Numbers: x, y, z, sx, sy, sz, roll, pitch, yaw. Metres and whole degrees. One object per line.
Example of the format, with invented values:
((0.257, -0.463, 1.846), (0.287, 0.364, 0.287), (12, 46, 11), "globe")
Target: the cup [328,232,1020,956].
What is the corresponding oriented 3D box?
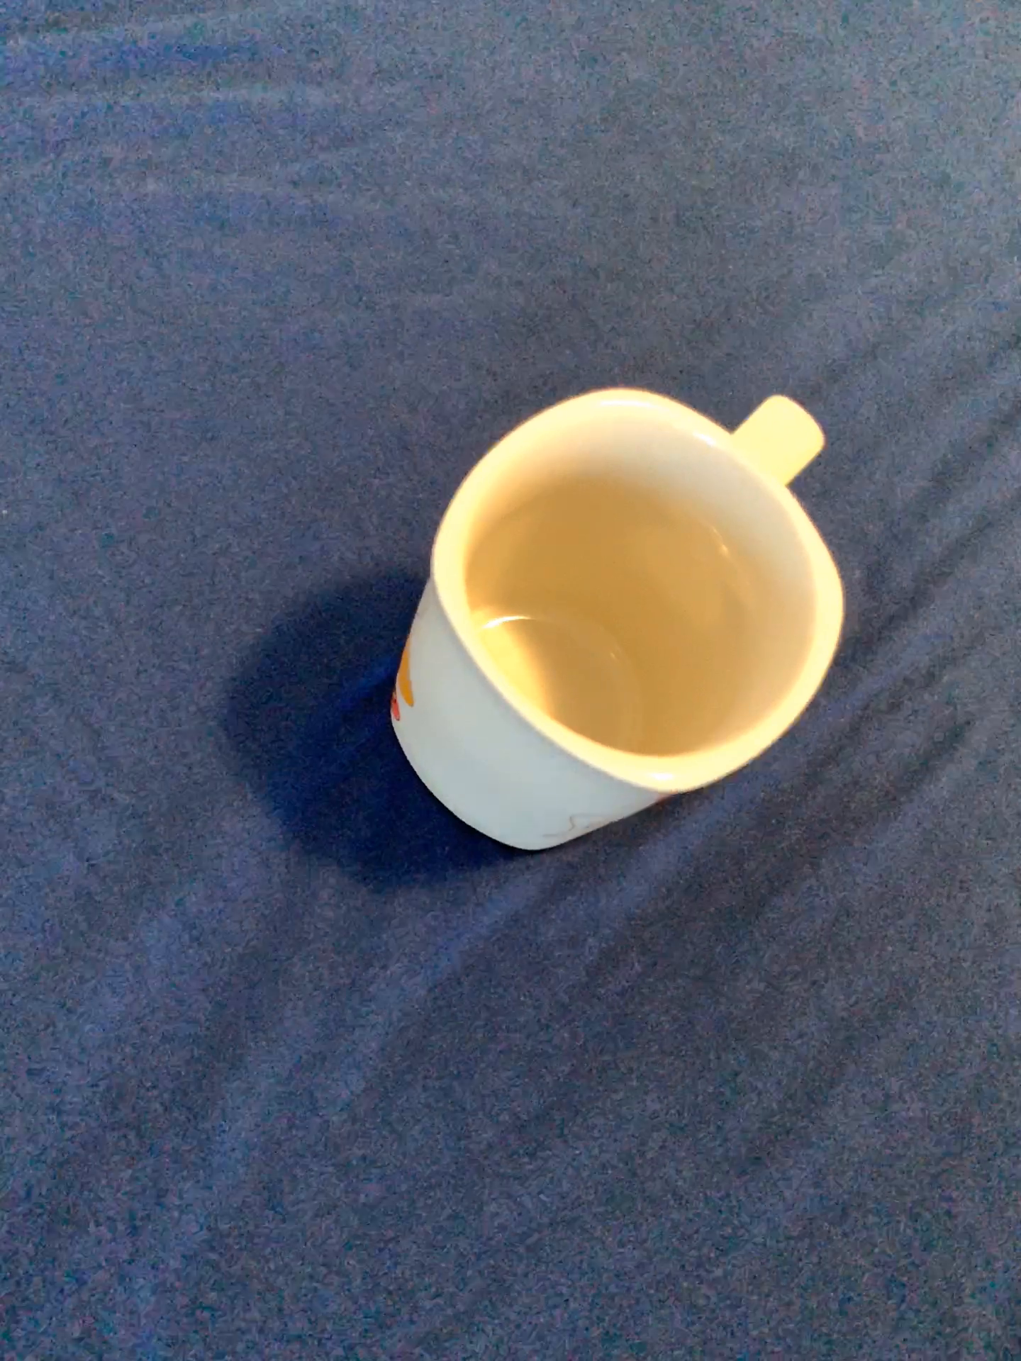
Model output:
((0.030, -0.013, 0.220), (0.070, 0.090, 0.110), (45, 66, 5), "cup")
